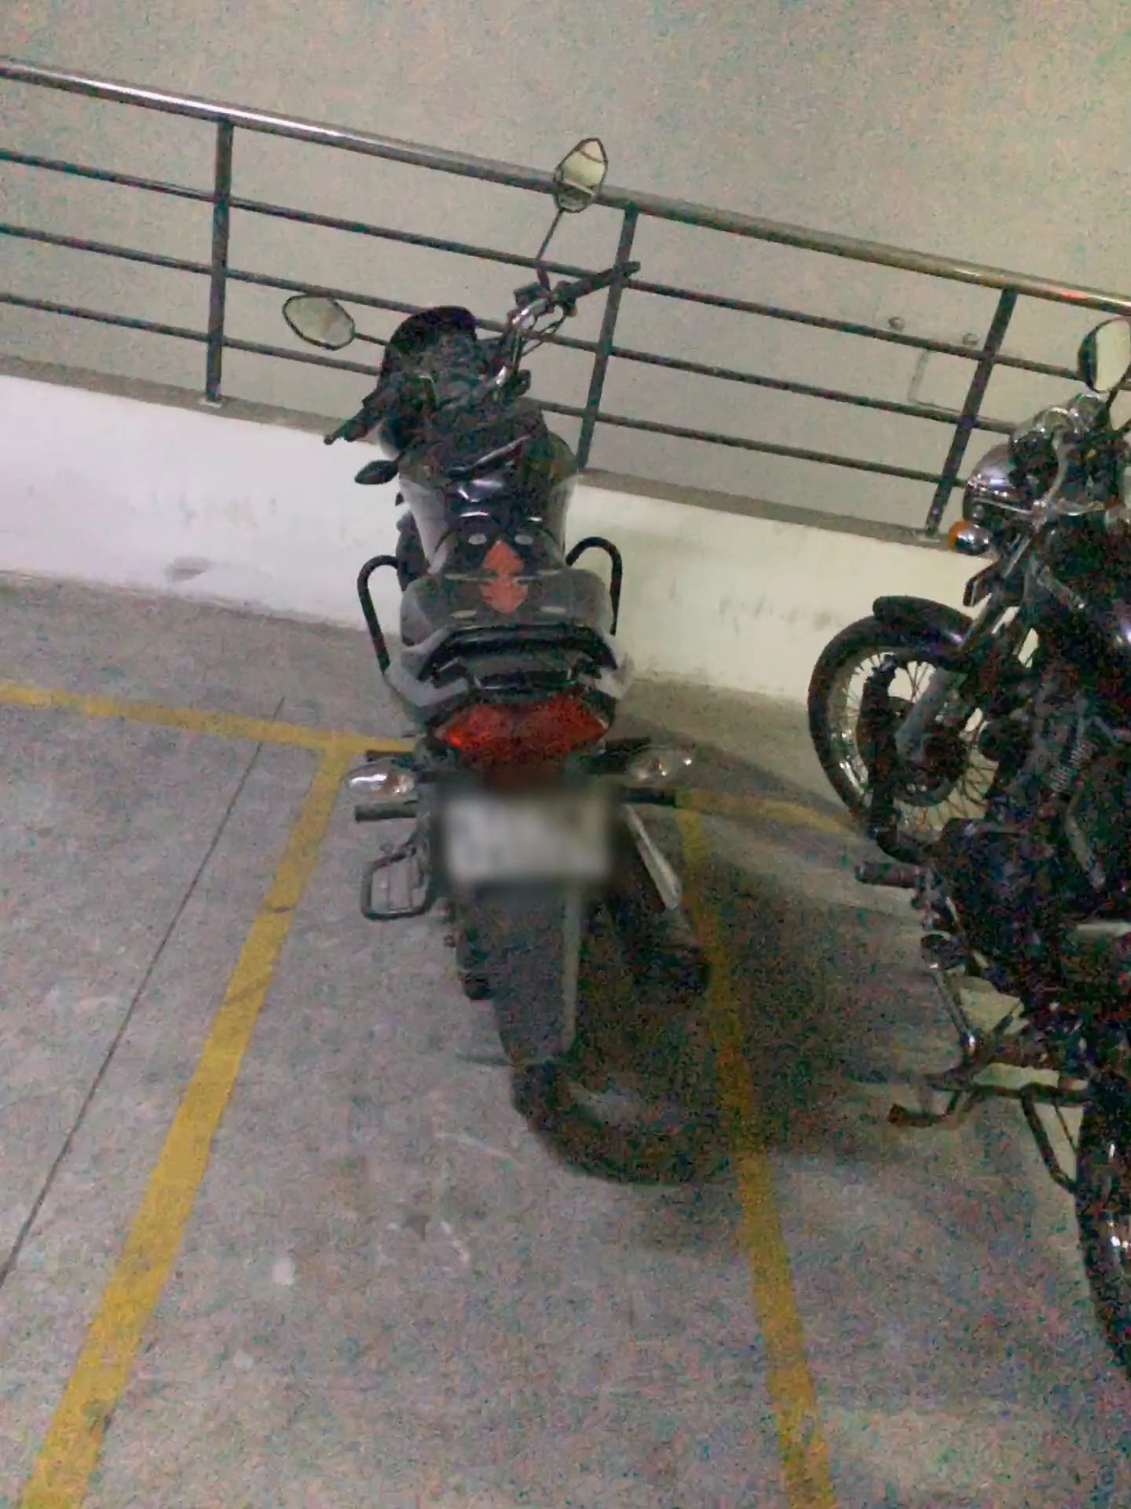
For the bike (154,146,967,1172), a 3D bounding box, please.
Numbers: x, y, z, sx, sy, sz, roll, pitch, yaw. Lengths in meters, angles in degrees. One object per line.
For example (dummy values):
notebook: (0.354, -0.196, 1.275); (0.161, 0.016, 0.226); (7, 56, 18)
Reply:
bike: (-0.260, -0.339, 2.026); (0.755, 1.067, 1.684); (4, 29, -17)
